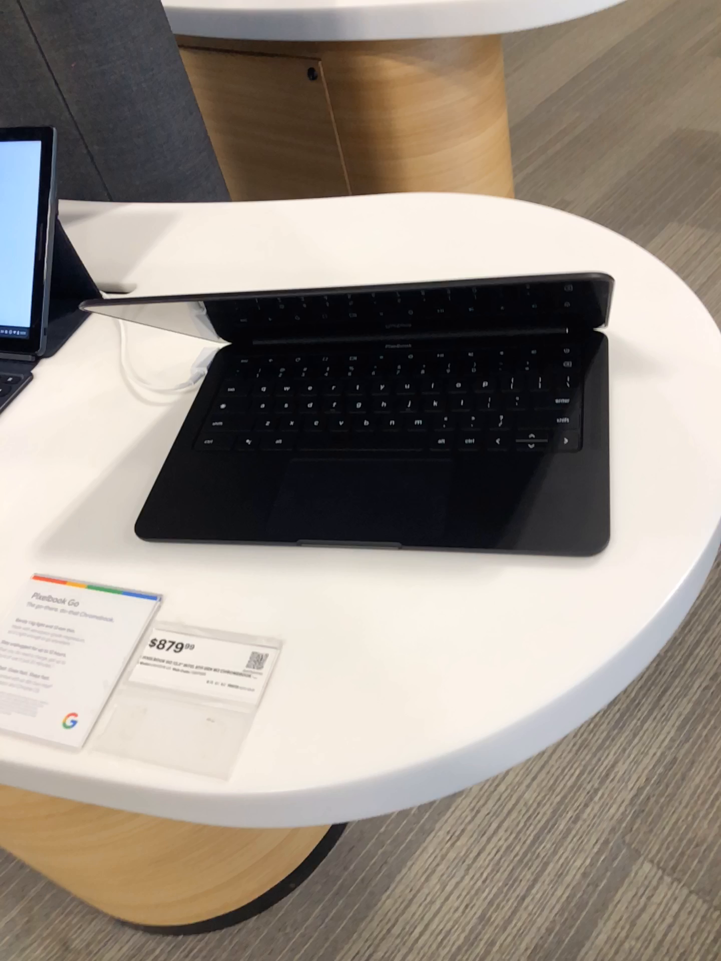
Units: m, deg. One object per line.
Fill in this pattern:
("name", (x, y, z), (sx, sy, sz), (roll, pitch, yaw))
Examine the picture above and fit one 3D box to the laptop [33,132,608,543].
("laptop", (0.005, -0.085, 0.484), (0.278, 0.146, 0.192), (1, 48, 14))
